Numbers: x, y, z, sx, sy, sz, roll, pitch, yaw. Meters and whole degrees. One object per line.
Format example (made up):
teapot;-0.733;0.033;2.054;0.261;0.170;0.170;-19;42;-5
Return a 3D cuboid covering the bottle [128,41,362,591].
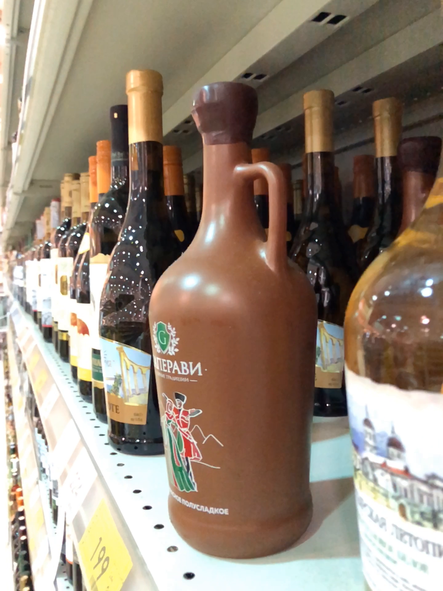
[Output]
bottle;0.013;0.010;0.282;0.090;0.250;0.090;-2;3;0
